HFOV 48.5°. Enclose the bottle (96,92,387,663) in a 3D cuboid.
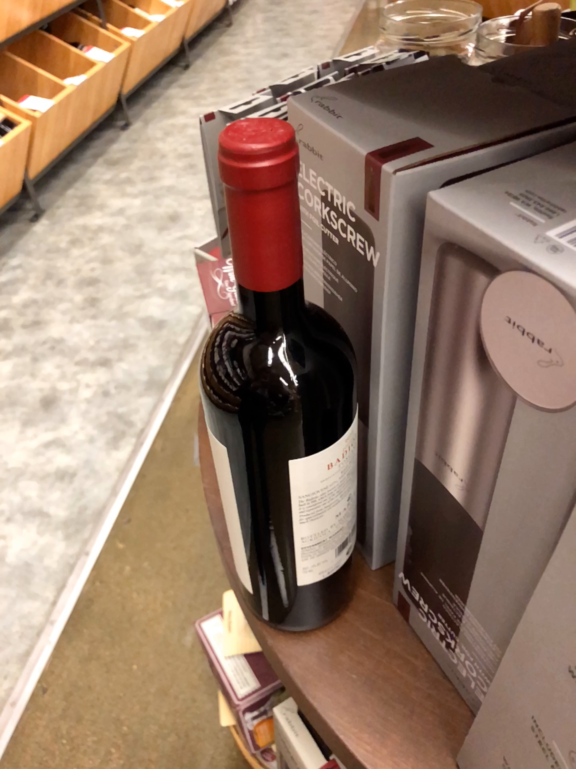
[{"bbox_3d":[-0.002,0.021,0.313,0.073,0.285,0.076,-3,41,3],"label":"bottle"}]
